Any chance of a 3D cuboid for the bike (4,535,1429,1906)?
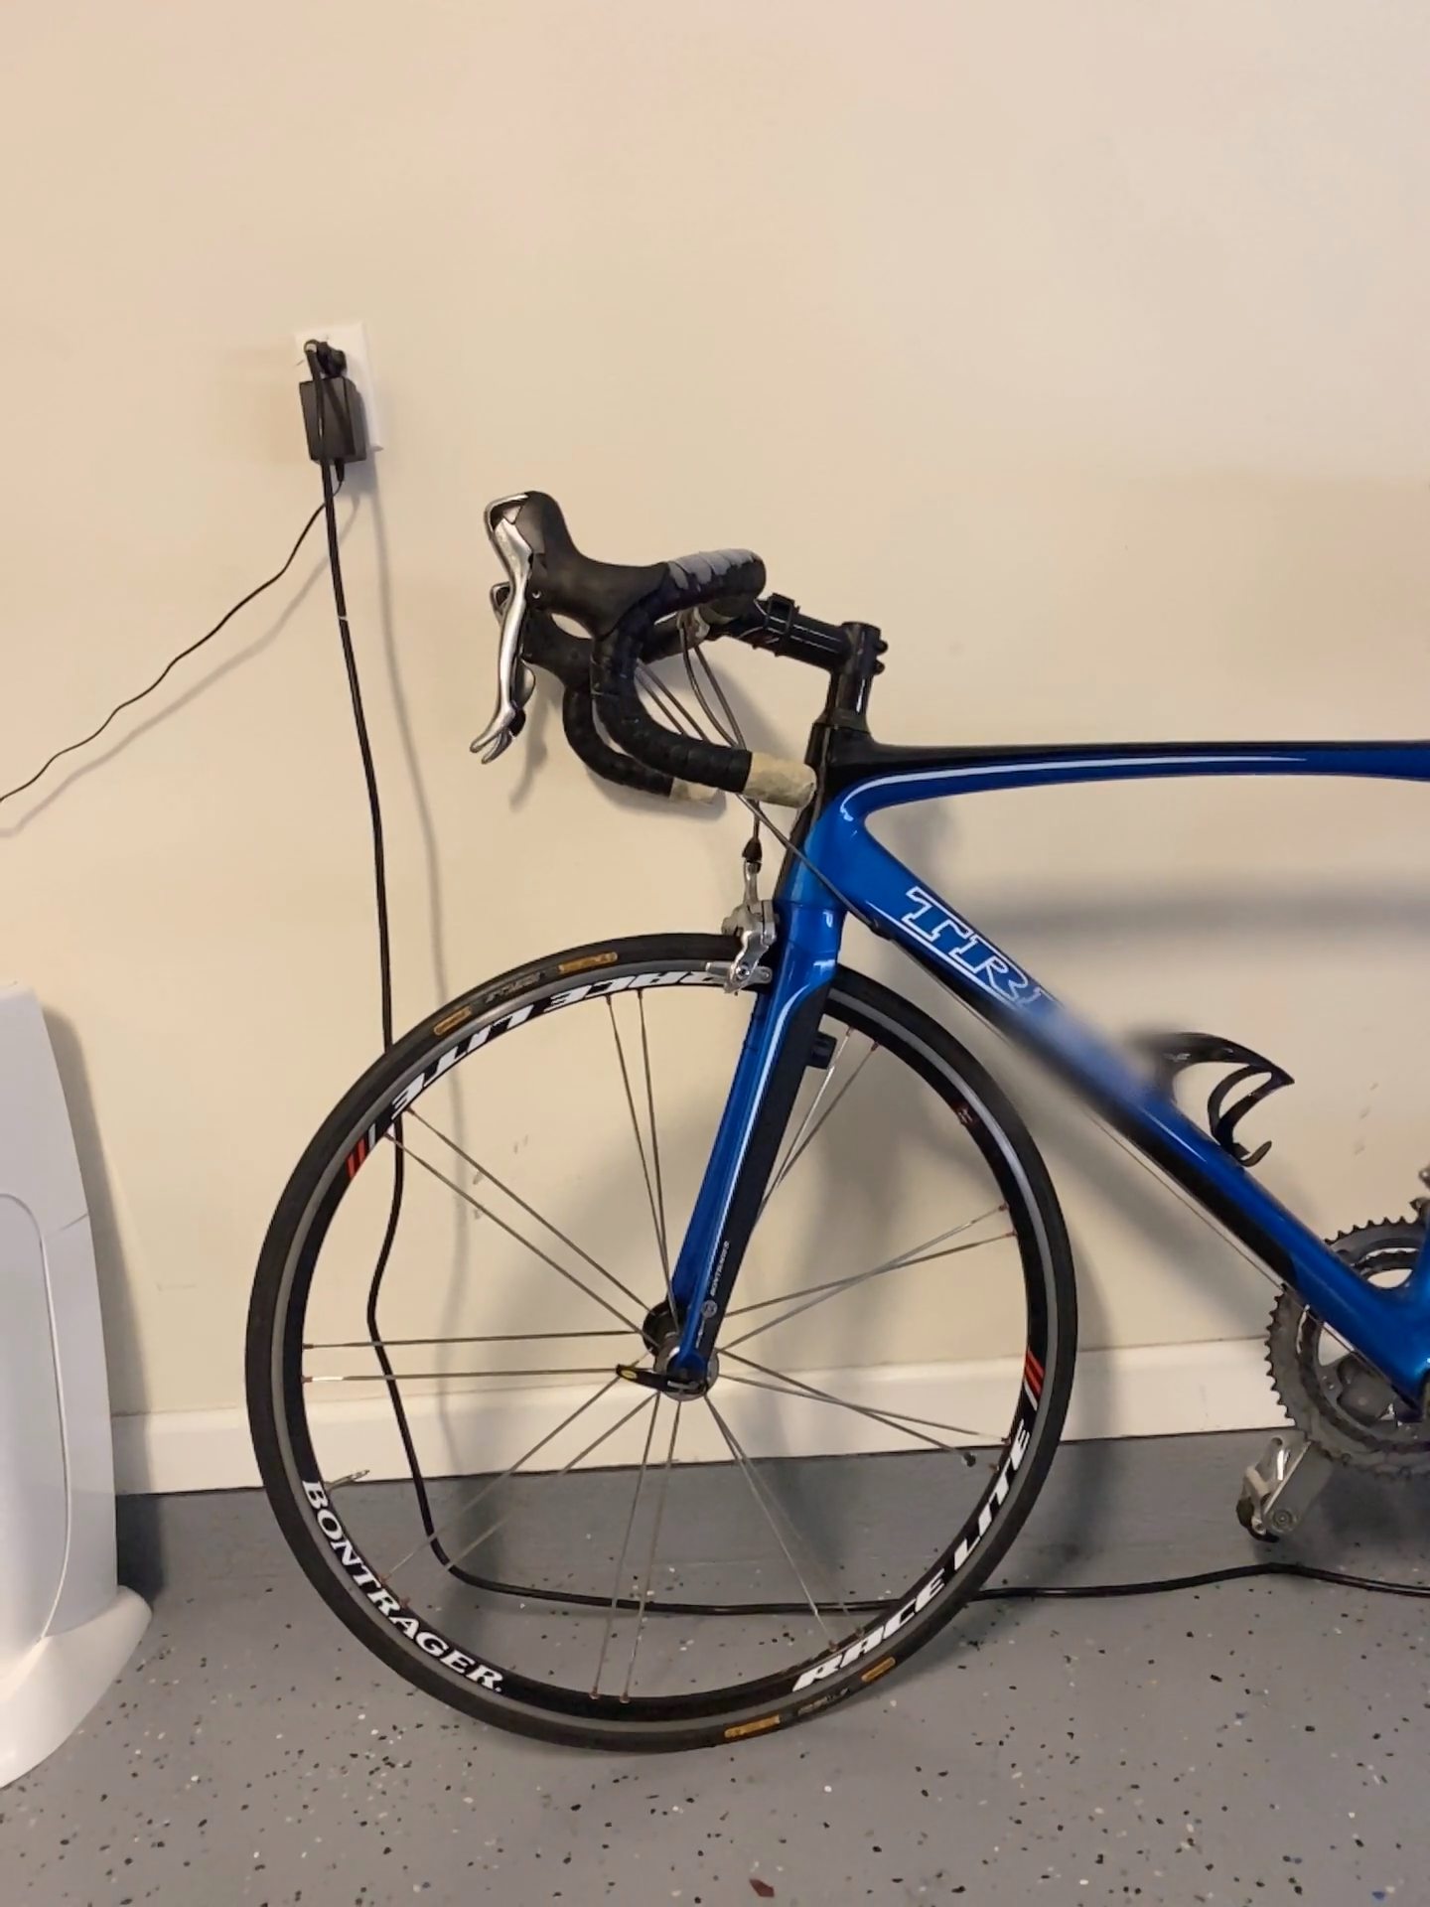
[{"bbox_3d":[0.514,0.186,1.036,1.638,0.884,0.401,-3,7,-6],"label":"bike"}]
